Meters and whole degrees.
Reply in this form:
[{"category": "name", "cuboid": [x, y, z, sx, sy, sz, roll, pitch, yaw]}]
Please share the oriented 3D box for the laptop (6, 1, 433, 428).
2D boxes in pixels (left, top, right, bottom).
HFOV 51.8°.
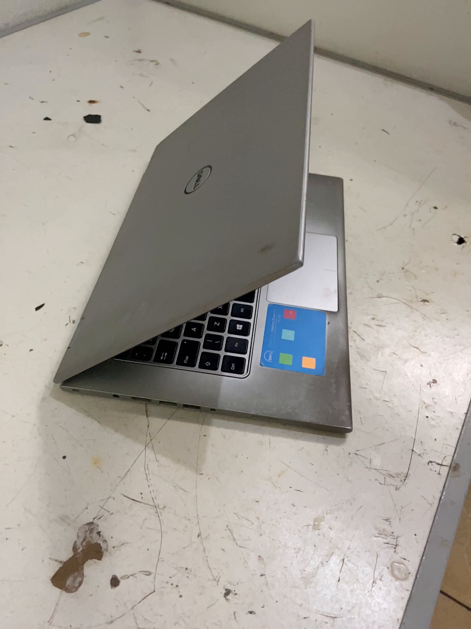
[{"category": "laptop", "cuboid": [0.004, -0.107, 0.408, 0.218, 0.155, 0.328, 8, 49, 1]}]
